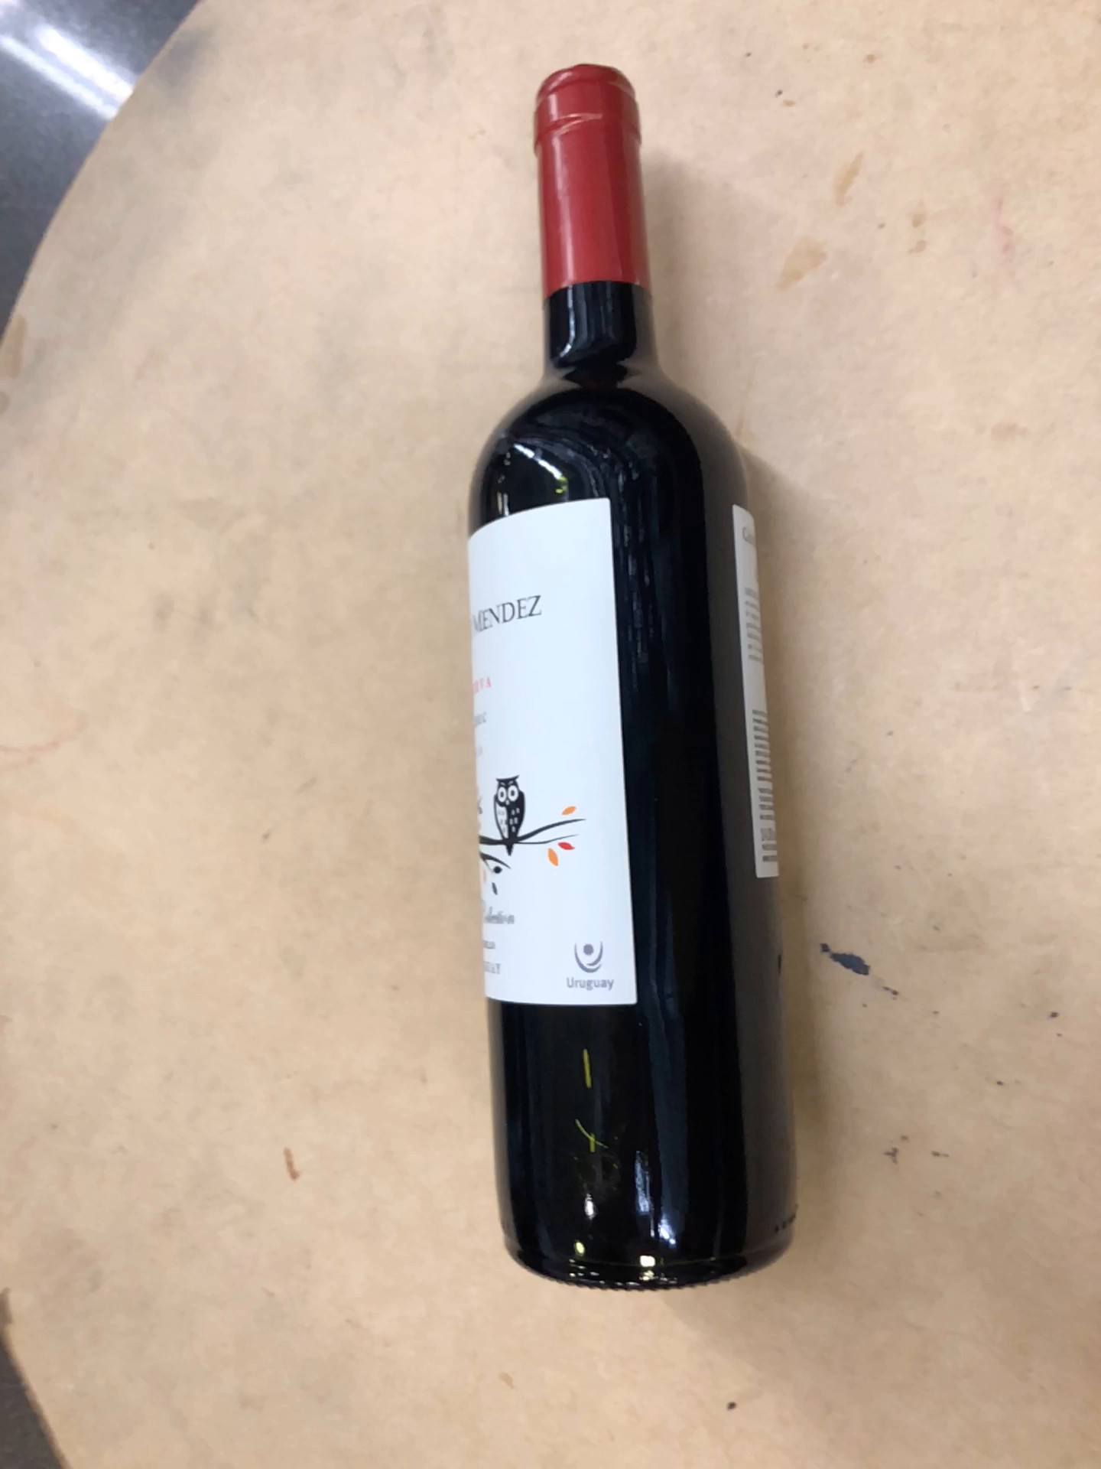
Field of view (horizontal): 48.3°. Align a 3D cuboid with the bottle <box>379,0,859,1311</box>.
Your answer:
[{"bbox_3d":[0.016,-0.036,0.297,0.080,0.060,0.310,-6,84,24],"label":"bottle"}]
